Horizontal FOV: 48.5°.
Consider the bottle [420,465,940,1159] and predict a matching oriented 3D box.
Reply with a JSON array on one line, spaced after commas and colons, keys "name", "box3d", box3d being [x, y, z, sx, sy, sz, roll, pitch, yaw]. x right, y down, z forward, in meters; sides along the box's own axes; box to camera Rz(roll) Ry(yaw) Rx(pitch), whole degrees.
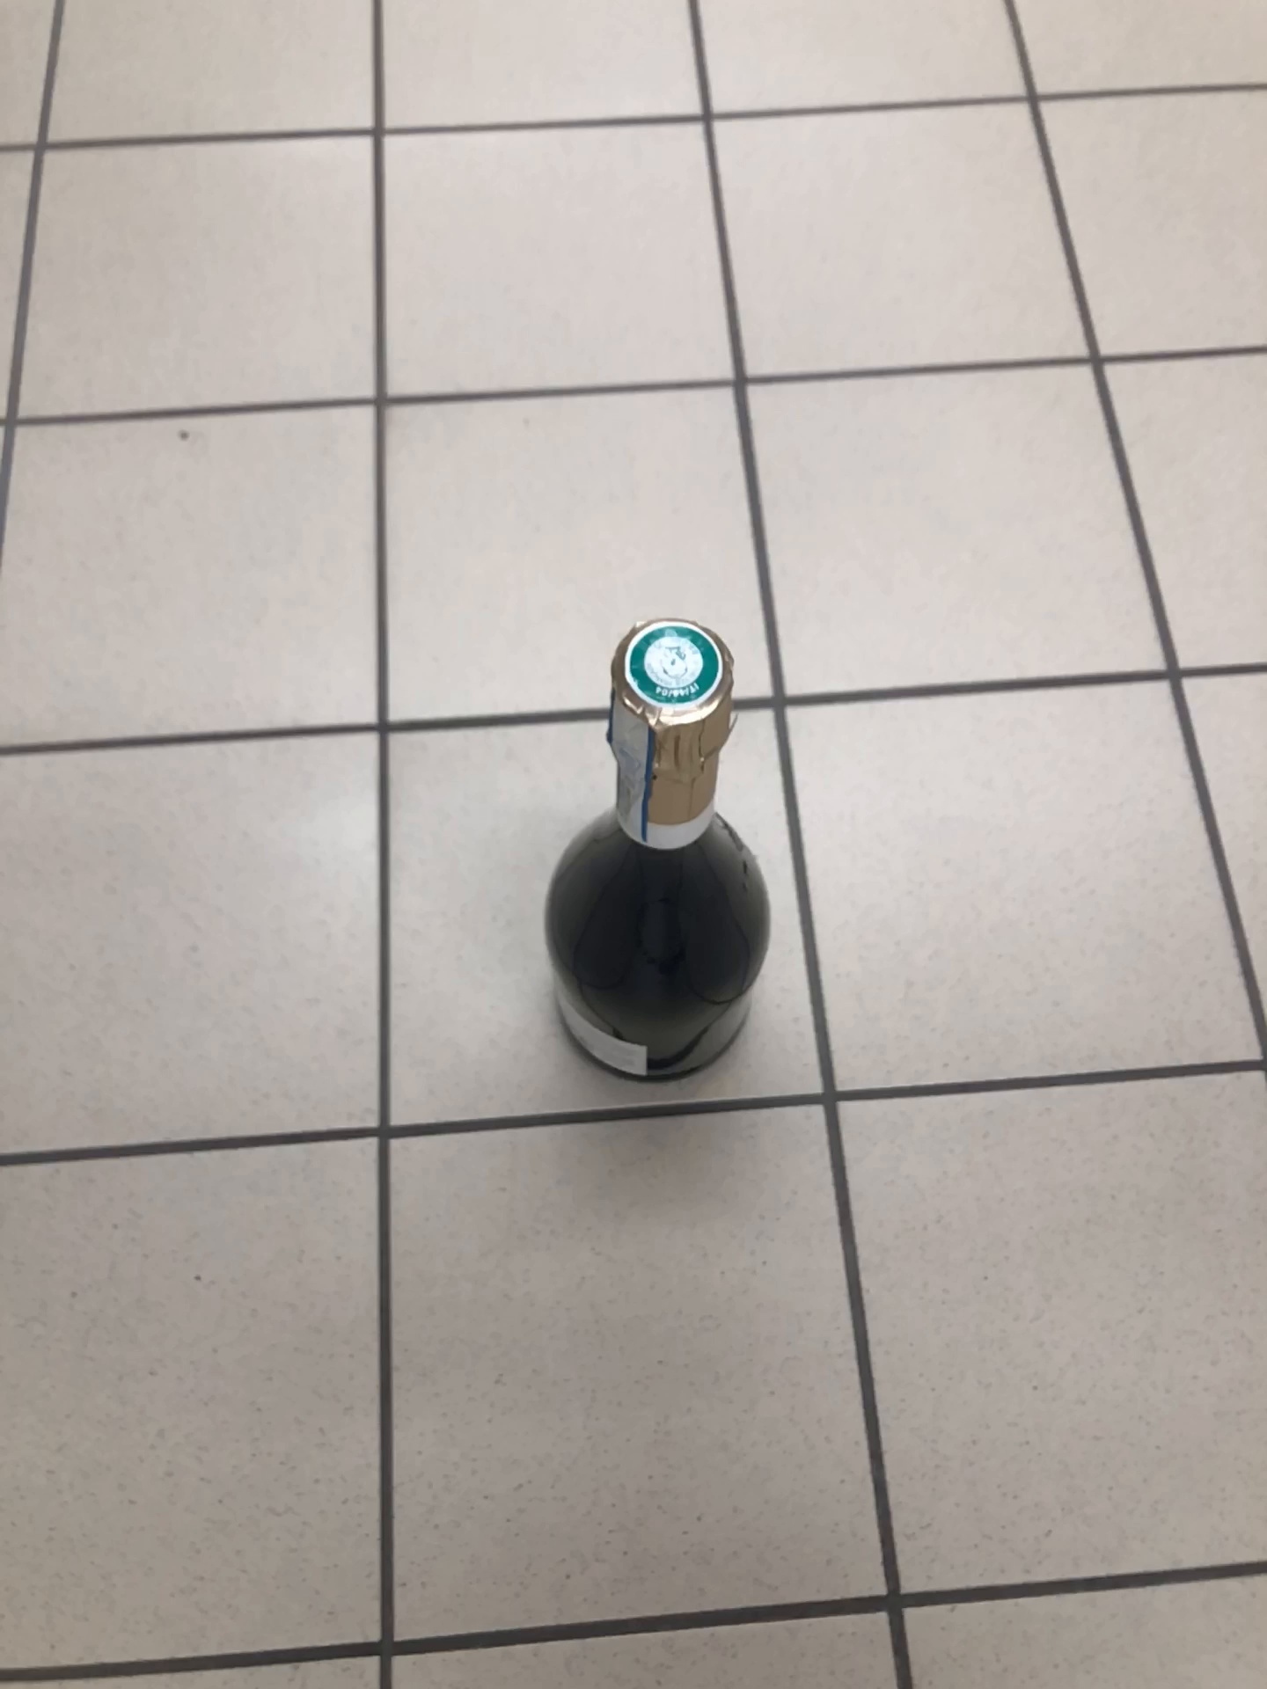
[{"name": "bottle", "box3d": [0.011, 0.017, 0.505, 0.090, 0.309, 0.100, -40, 73, -15]}]
